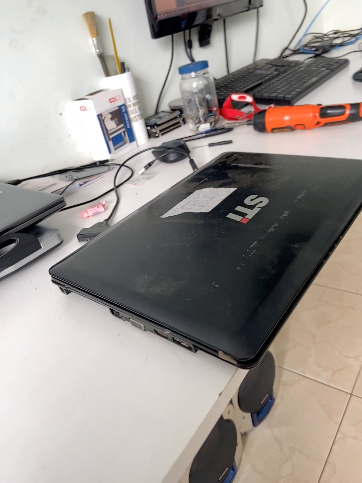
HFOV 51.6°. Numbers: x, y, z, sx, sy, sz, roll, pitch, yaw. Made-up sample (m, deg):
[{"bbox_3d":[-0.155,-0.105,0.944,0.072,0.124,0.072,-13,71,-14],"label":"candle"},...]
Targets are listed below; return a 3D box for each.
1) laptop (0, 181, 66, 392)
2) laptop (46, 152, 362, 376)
[{"bbox_3d":[-0.341,0.002,0.441,0.228,0.006,0.345,10,35,34],"label":"laptop"},{"bbox_3d":[0.056,-0.026,0.417,0.230,0.011,0.338,15,40,36],"label":"laptop"}]
